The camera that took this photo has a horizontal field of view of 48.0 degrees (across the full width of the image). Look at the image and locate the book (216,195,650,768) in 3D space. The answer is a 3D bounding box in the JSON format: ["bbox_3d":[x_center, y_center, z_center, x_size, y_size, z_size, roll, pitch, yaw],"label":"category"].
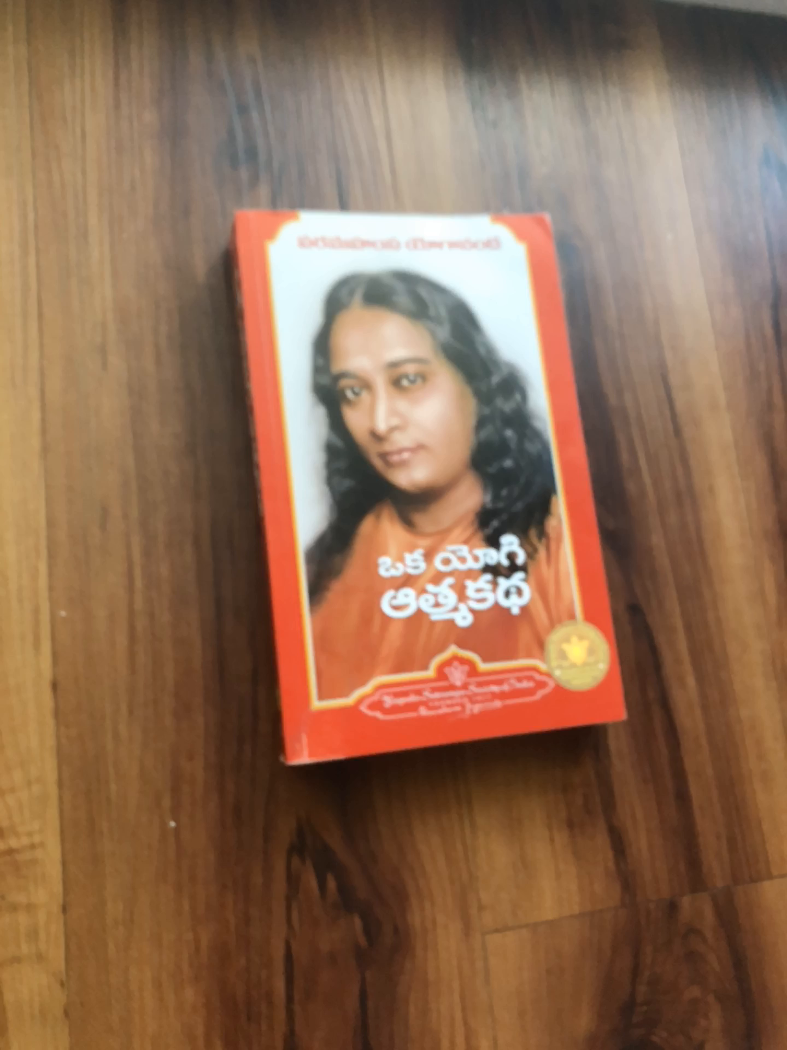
[{"bbox_3d":[0.012,-0.024,0.354,0.148,0.030,0.214,-4,80,-14],"label":"book"}]
